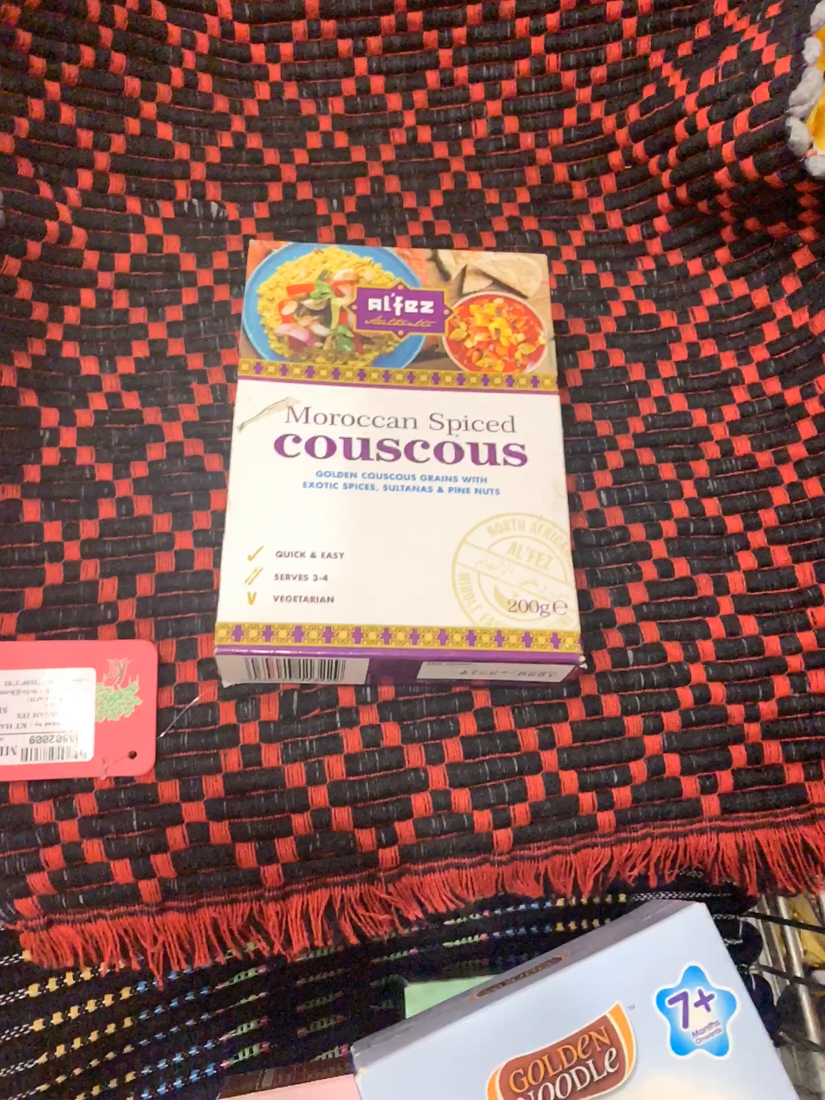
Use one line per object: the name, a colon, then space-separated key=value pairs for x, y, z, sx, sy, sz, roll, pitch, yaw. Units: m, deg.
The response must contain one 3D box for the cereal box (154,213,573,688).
cereal box: x=-0.016 y=-0.036 z=0.300 sx=0.120 sy=0.050 sz=0.160 roll=1 pitch=66 yaw=-5
